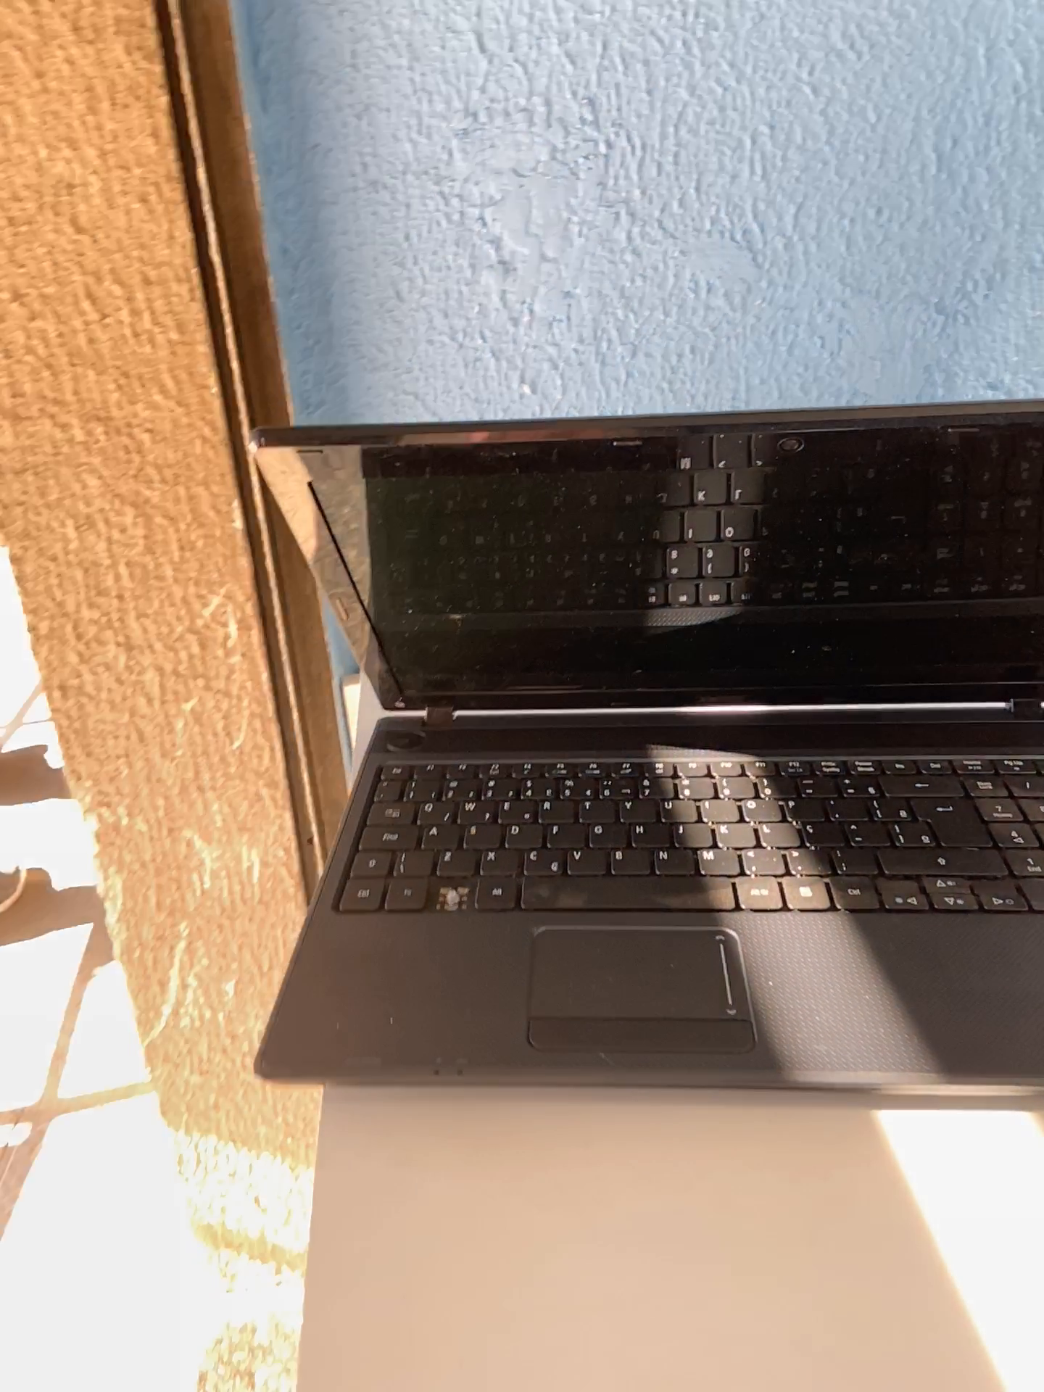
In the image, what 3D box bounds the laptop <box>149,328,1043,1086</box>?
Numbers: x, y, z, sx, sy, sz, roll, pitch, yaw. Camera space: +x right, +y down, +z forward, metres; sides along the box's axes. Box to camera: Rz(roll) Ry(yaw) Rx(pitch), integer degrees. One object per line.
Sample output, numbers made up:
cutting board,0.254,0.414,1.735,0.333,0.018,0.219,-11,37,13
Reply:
laptop,0.098,-0.016,0.425,0.376,0.191,0.249,-1,27,4
